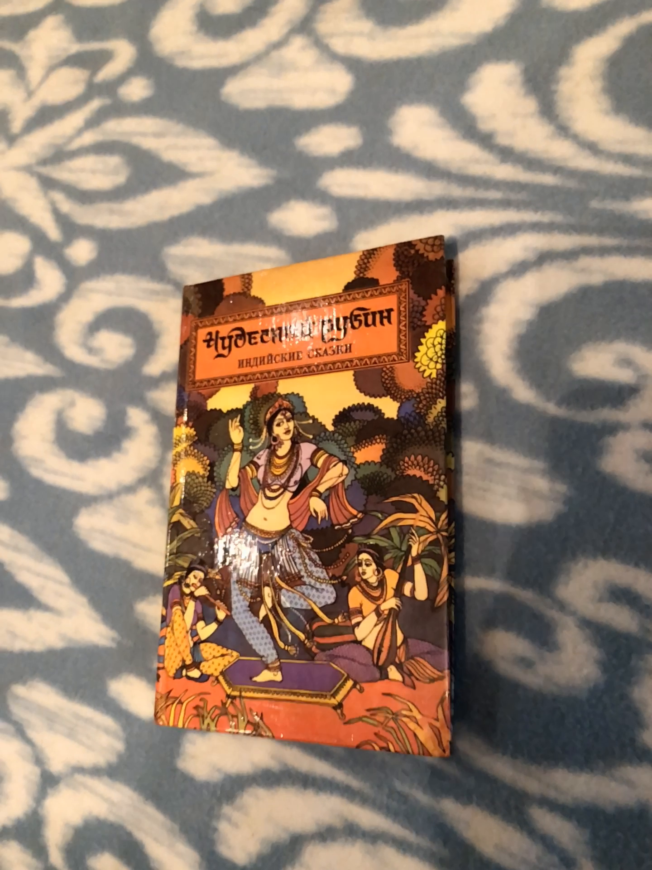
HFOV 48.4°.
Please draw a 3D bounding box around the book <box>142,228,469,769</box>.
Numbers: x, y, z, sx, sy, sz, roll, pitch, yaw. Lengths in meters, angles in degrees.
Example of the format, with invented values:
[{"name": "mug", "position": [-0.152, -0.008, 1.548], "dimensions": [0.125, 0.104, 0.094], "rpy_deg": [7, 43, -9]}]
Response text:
[{"name": "book", "position": [-0.011, 0.024, 0.323], "dimensions": [0.139, 0.027, 0.210], "rpy_deg": [-5, 77, 26]}]
